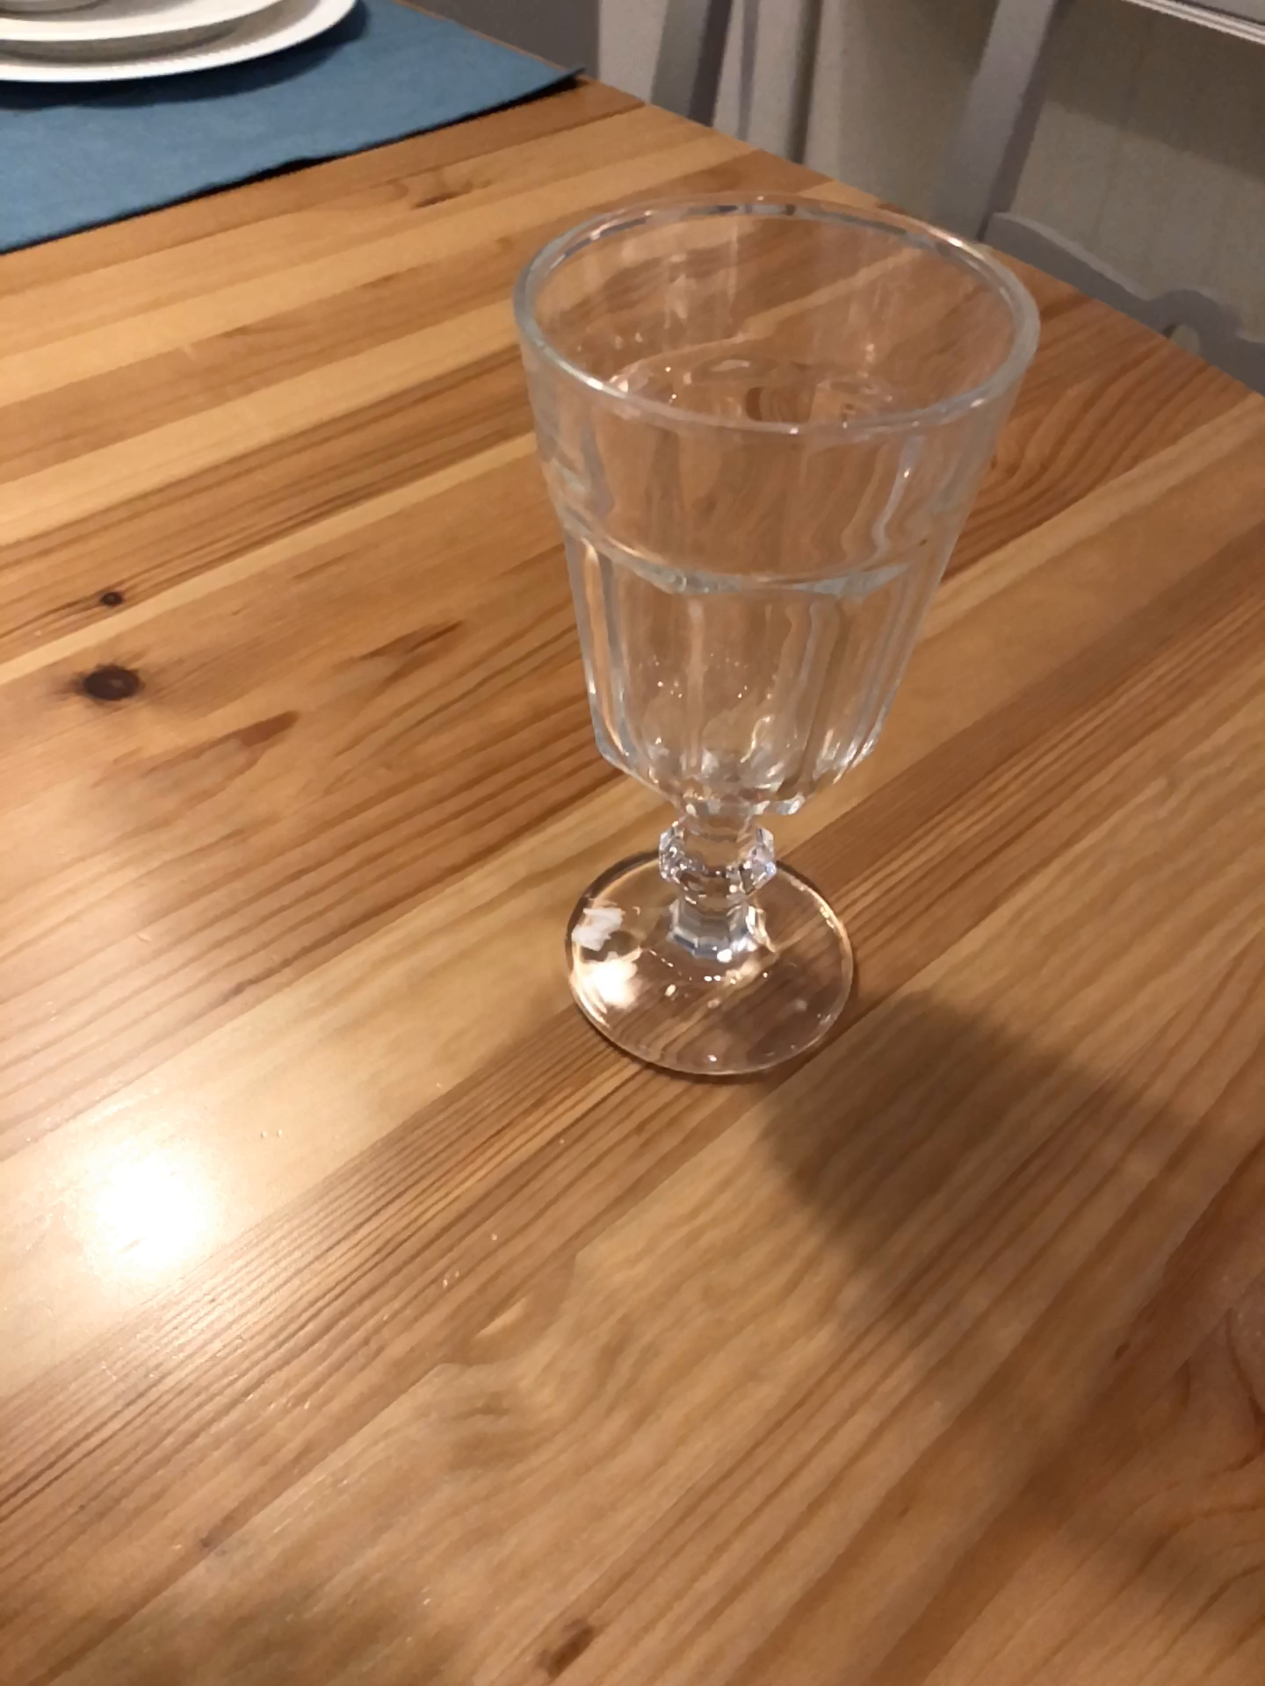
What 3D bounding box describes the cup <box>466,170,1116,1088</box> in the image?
[{"bbox_3d":[0.016,-0.031,0.250,0.080,0.139,0.080,1,46,-1],"label":"cup"}]
